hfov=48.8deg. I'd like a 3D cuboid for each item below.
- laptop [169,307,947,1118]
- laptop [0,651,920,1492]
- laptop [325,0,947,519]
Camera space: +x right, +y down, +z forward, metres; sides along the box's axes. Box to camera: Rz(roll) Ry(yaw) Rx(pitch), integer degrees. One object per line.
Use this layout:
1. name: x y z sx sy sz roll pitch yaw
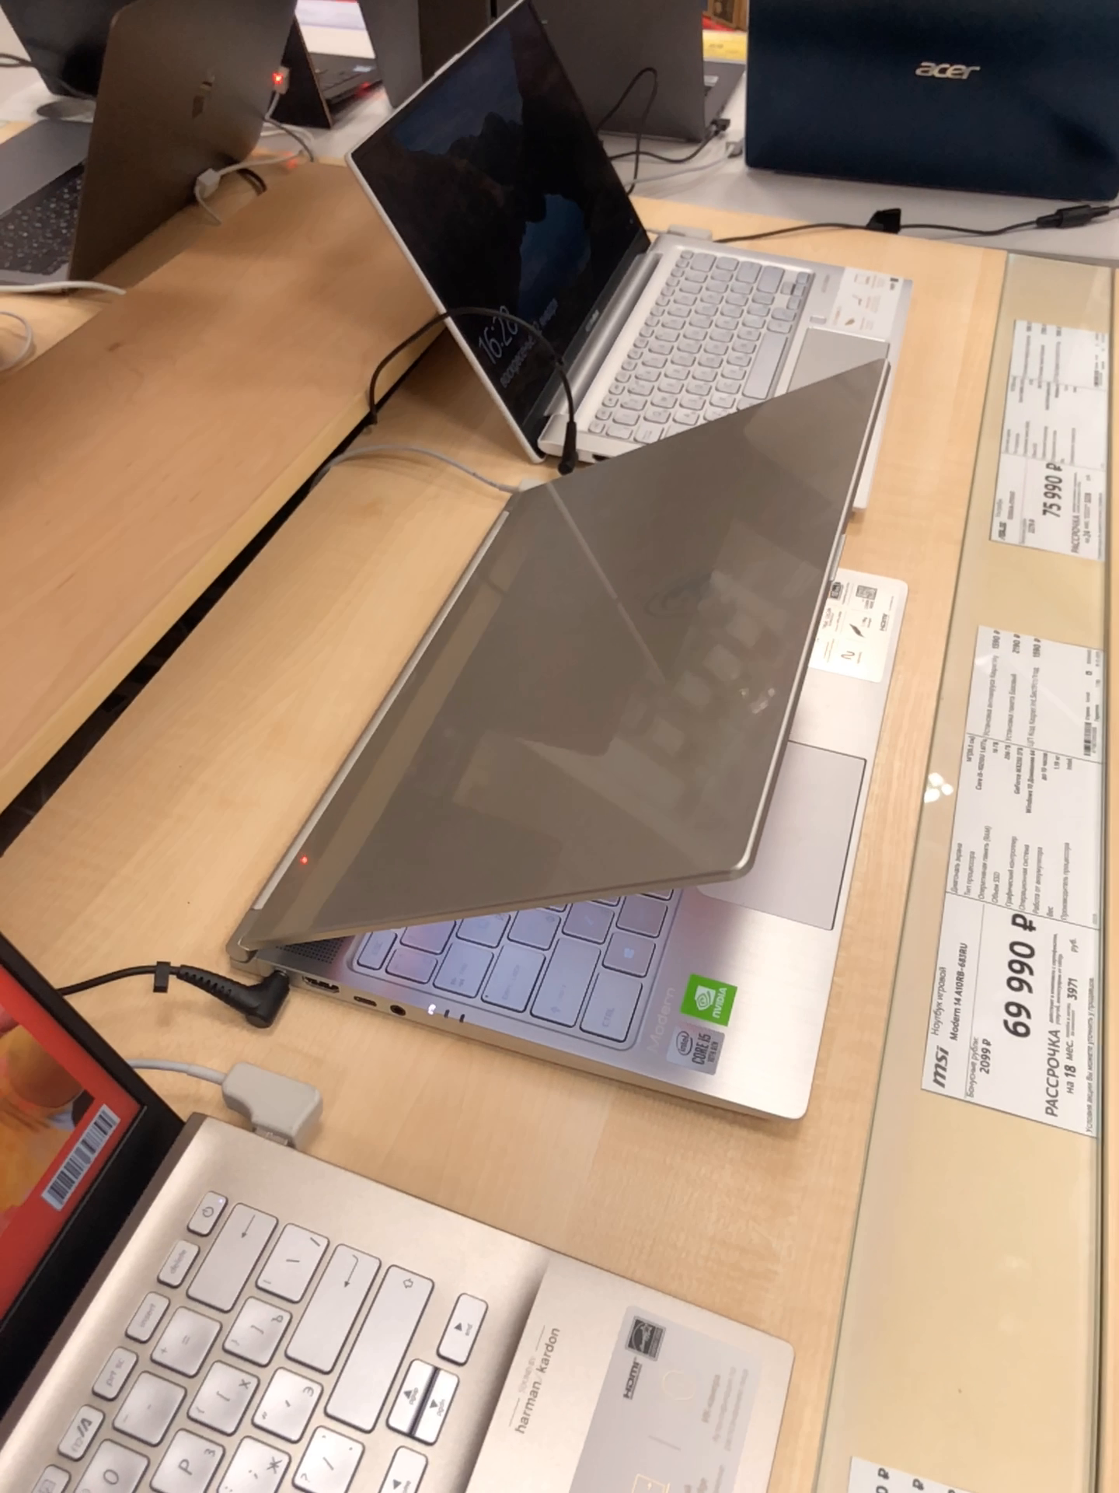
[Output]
1. laptop: 0.028 -0.045 0.520 0.216 0.113 0.322 14 46 11
2. laptop: -0.125 0.176 0.228 0.314 0.169 0.311 14 45 11
3. laptop: 0.069 -0.335 0.785 0.300 0.154 0.327 14 46 8
